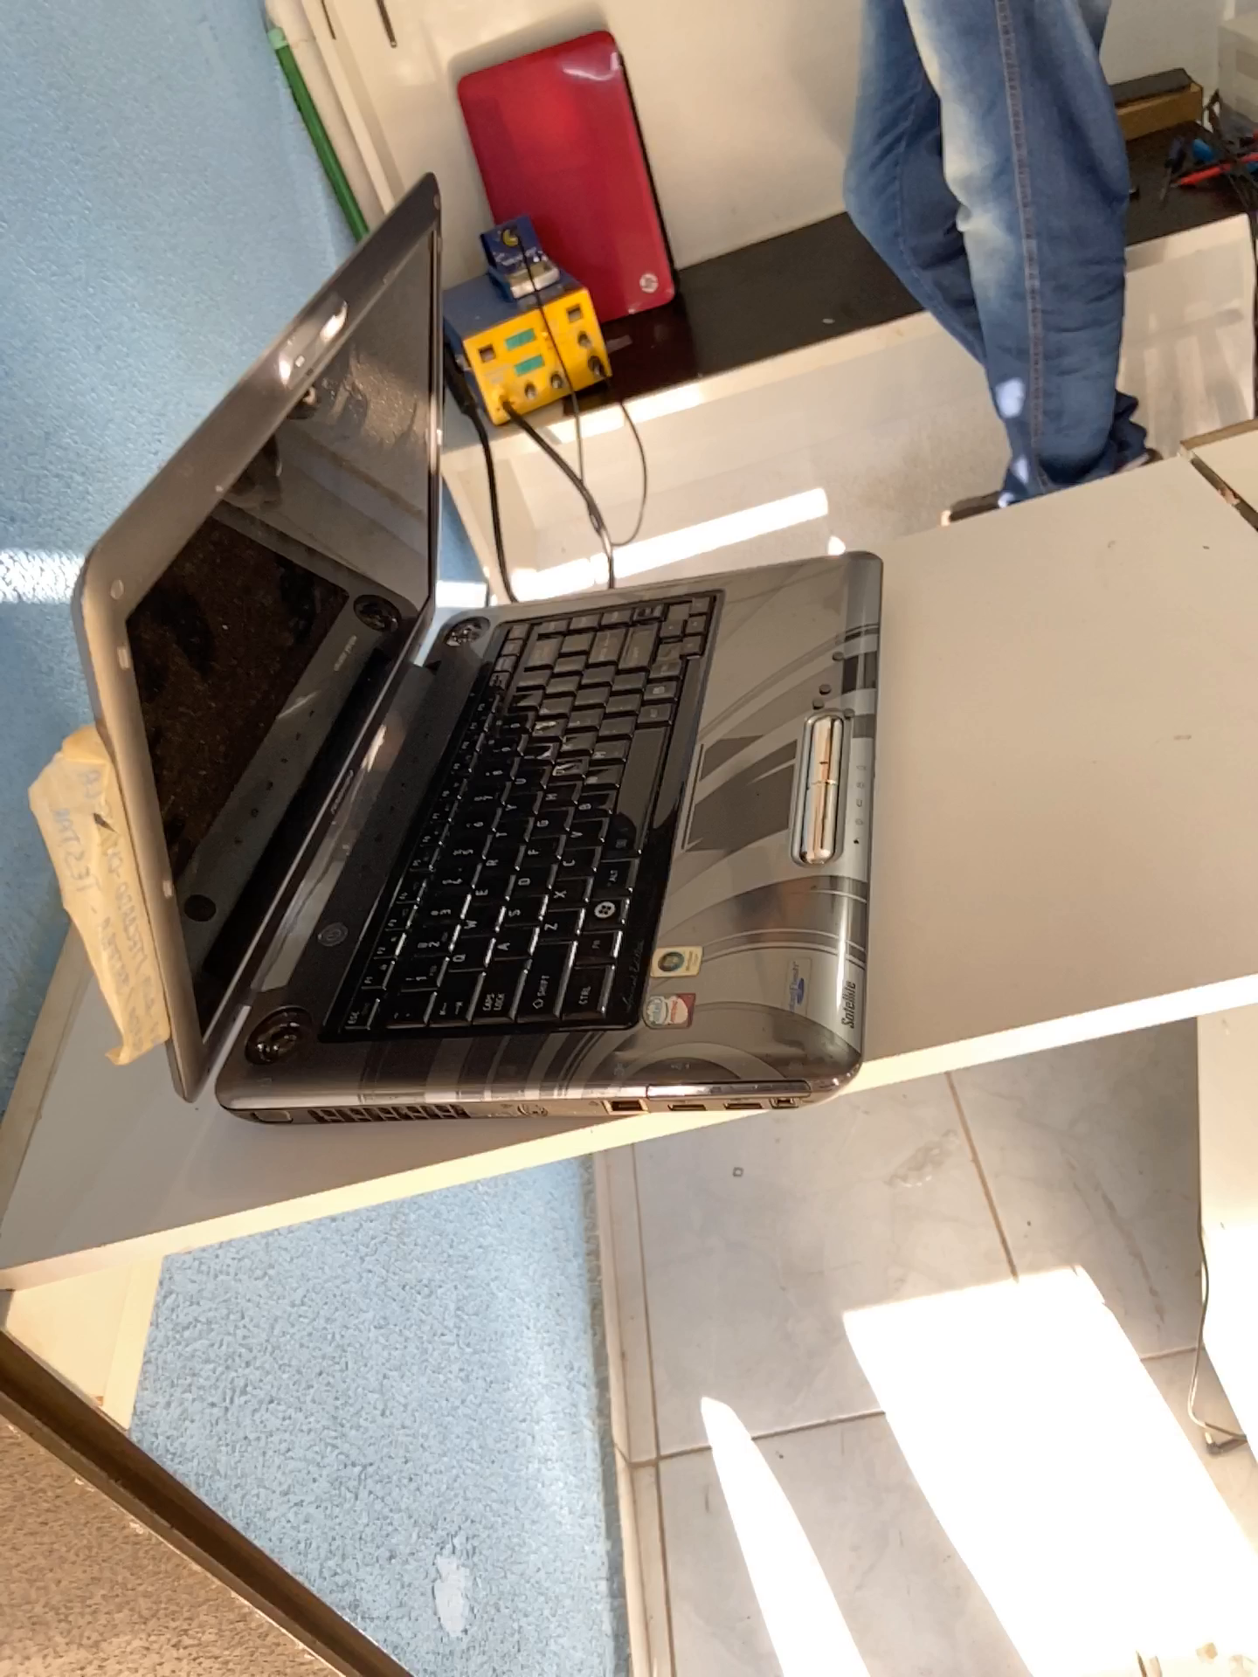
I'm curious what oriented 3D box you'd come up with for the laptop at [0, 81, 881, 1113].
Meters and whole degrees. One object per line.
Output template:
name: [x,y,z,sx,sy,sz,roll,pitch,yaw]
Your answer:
laptop: [-0.049,-0.108,0.544,0.258,0.235,0.360,-6,41,18]
